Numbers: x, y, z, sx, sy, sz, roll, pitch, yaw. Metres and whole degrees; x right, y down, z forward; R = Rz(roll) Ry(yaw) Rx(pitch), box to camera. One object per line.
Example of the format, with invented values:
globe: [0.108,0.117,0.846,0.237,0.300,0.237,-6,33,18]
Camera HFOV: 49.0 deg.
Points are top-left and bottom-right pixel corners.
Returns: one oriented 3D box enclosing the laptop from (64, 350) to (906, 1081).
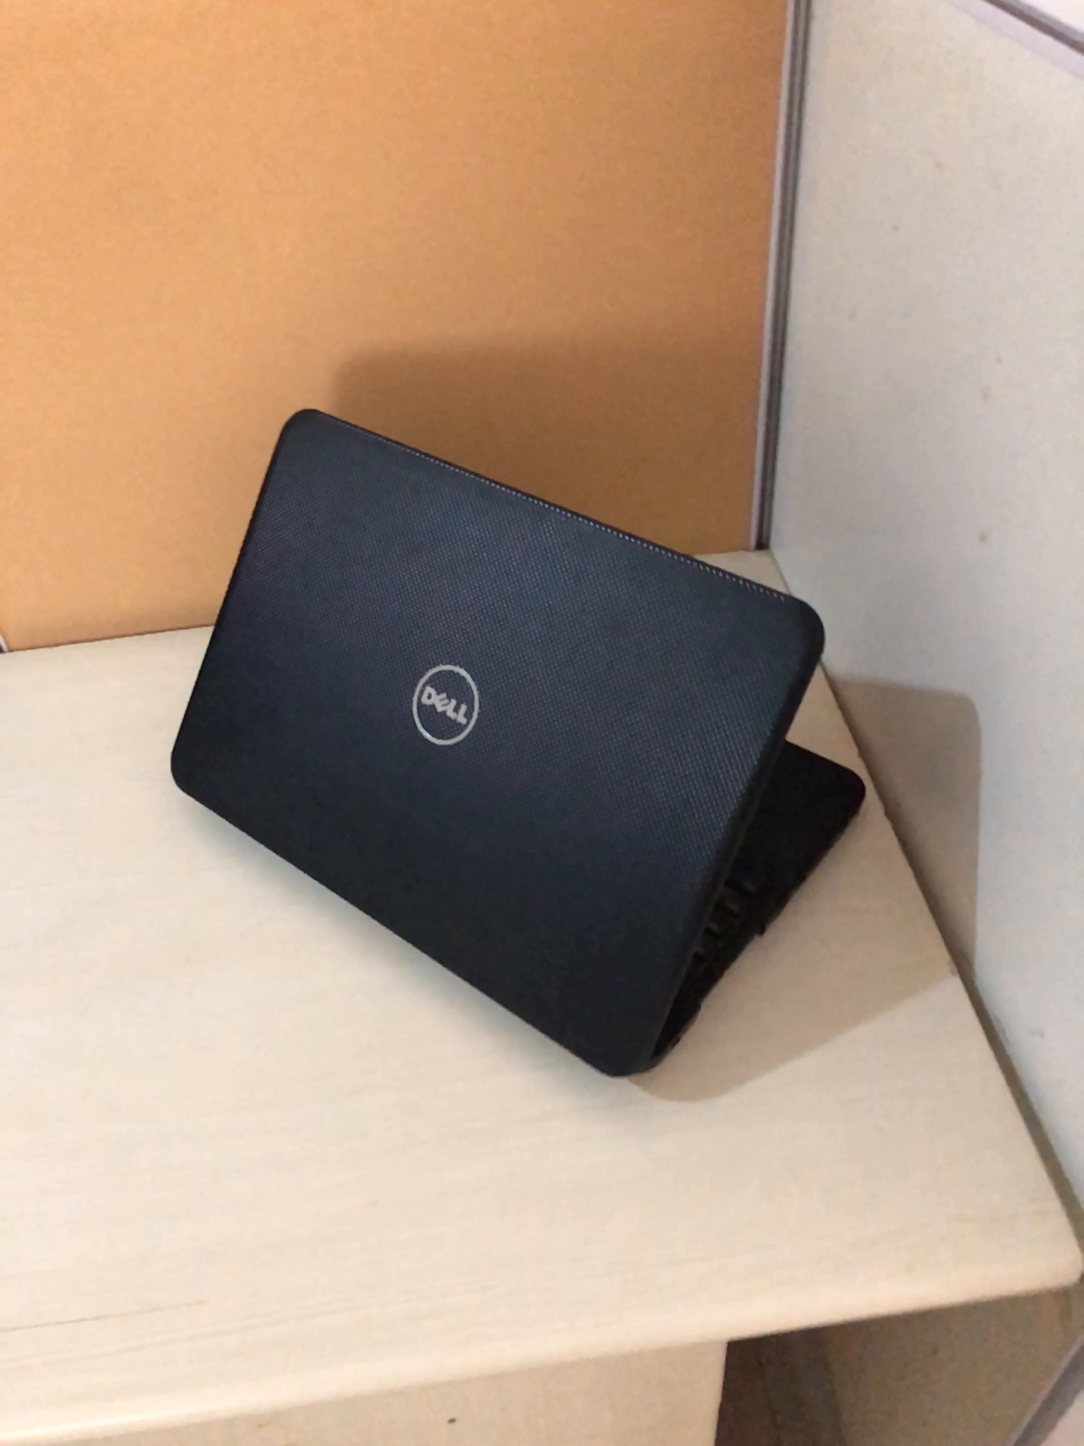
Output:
laptop: [-0.026,-0.033,0.675,0.353,0.179,0.255,28,50,28]
